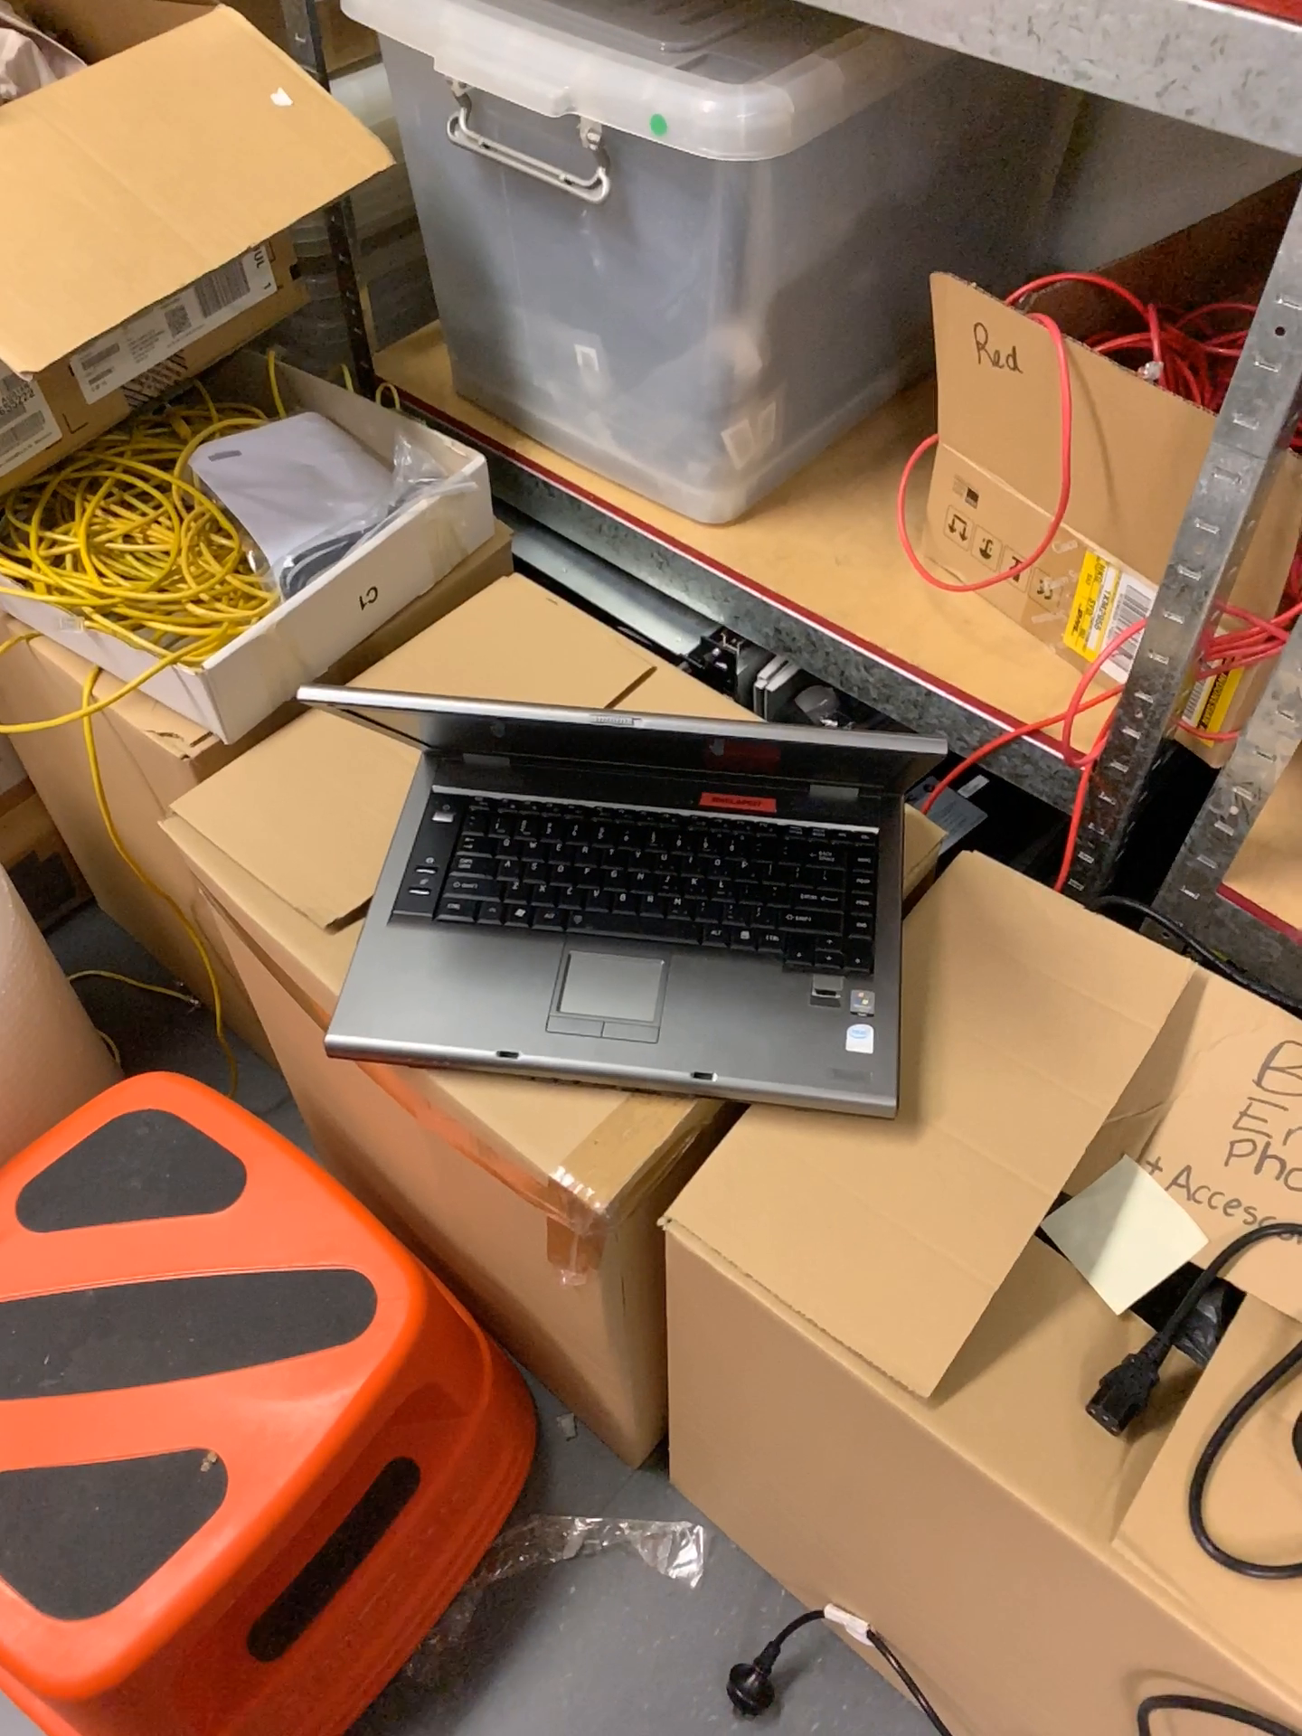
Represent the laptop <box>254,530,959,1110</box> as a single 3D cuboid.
[{"bbox_3d":[-0.012,-0.034,0.812,0.352,0.203,0.254,6,51,6],"label":"laptop"}]
